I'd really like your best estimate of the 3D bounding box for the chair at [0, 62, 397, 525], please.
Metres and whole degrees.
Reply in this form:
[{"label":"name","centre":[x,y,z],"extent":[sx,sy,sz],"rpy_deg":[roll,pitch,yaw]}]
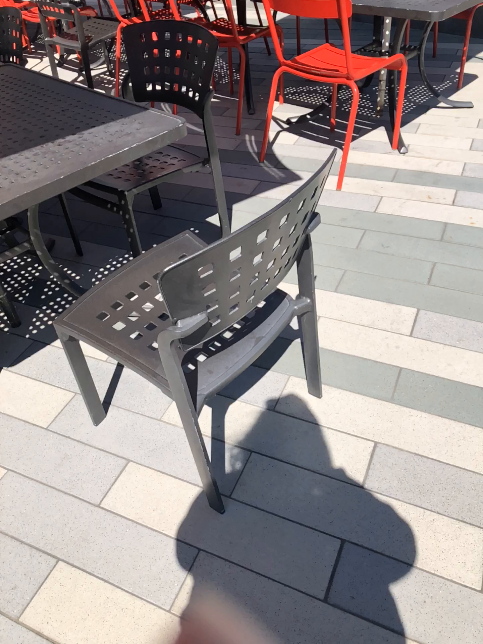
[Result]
[{"label":"chair","centre":[-0.076,-0.069,1.212],"extent":[0.531,0.756,0.521],"rpy_deg":[26,49,26]}]
